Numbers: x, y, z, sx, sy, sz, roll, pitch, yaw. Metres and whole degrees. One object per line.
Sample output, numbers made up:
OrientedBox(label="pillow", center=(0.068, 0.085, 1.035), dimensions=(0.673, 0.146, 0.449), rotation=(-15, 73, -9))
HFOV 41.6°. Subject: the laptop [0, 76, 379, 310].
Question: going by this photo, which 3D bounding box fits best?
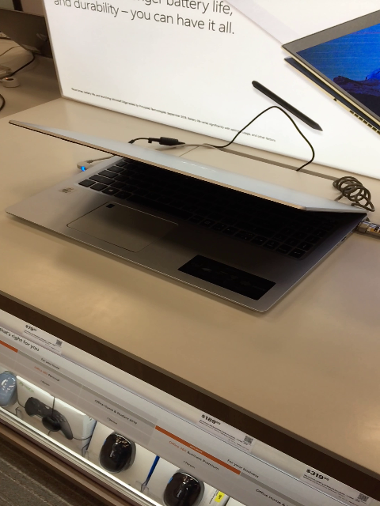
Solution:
OrientedBox(label="laptop", center=(-0.007, -0.107, 0.650), dimensions=(0.393, 0.138, 0.263), rotation=(24, 44, 30))
